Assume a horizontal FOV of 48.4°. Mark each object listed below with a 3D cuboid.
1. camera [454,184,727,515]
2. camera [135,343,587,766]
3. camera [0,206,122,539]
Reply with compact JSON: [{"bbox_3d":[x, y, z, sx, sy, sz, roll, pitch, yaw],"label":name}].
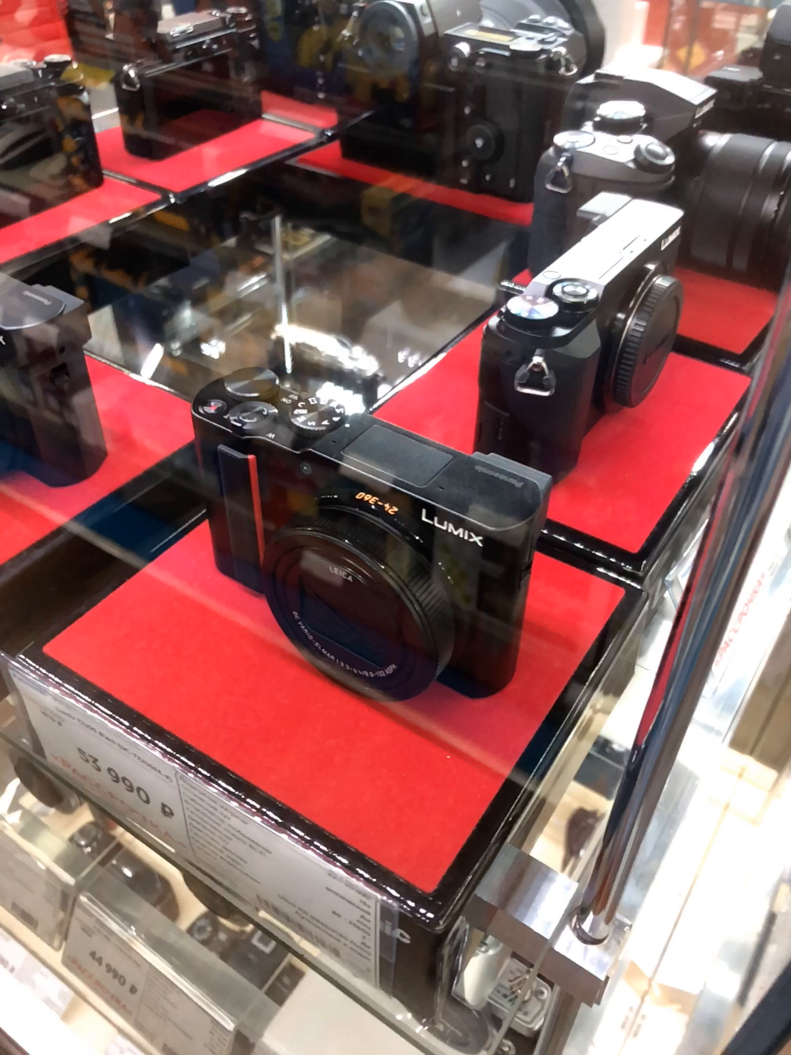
[{"bbox_3d":[0.073,-0.071,0.333,0.054,0.076,0.102,24,46,24],"label":"camera"},{"bbox_3d":[-0.011,0.004,0.256,0.110,0.070,0.052,24,46,24],"label":"camera"},{"bbox_3d":[-0.170,-0.062,0.332,0.114,0.076,0.055,27,47,26],"label":"camera"}]
